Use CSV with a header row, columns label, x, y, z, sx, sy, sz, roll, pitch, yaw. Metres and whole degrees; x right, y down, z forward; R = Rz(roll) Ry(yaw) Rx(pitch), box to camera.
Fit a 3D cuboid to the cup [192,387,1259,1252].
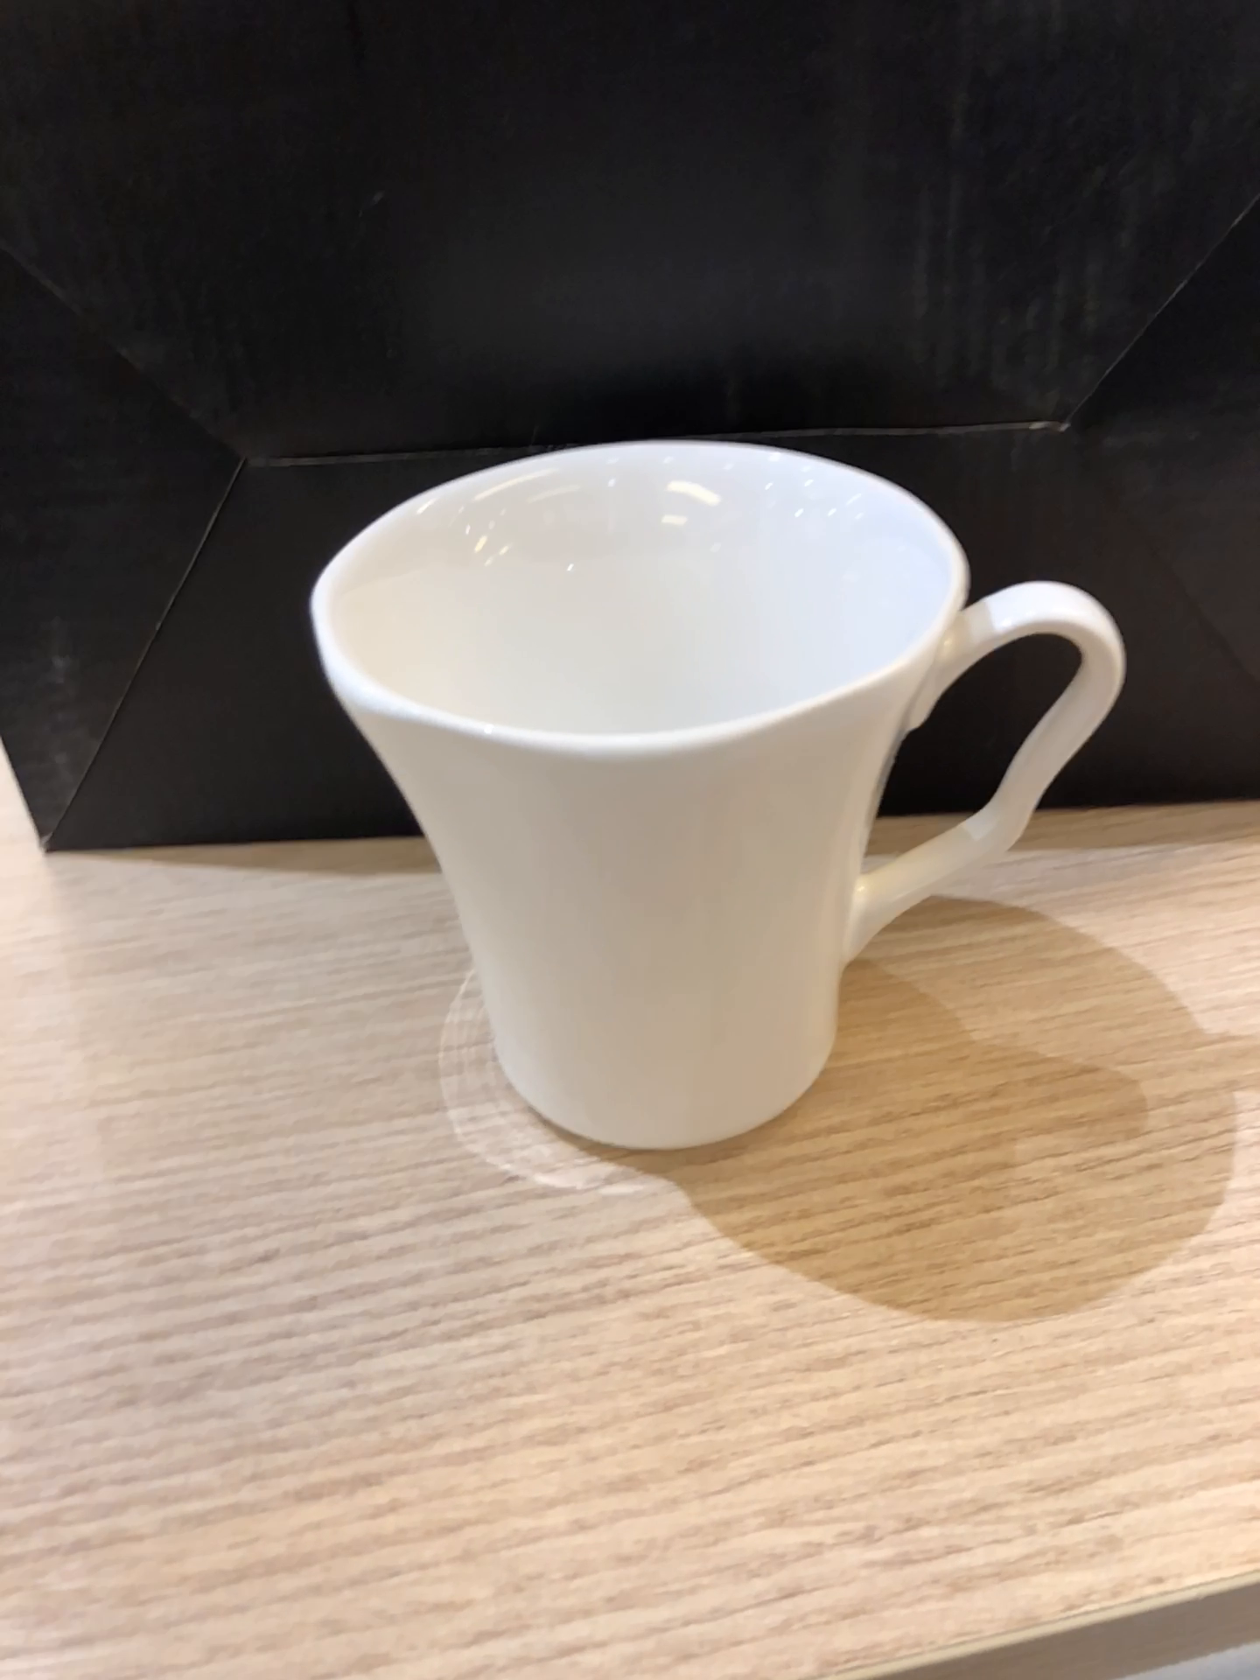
label,x,y,z,sx,sy,sz,roll,pitch,yaw
cup,0.012,-0.005,0.196,0.110,0.079,0.081,-5,37,0
